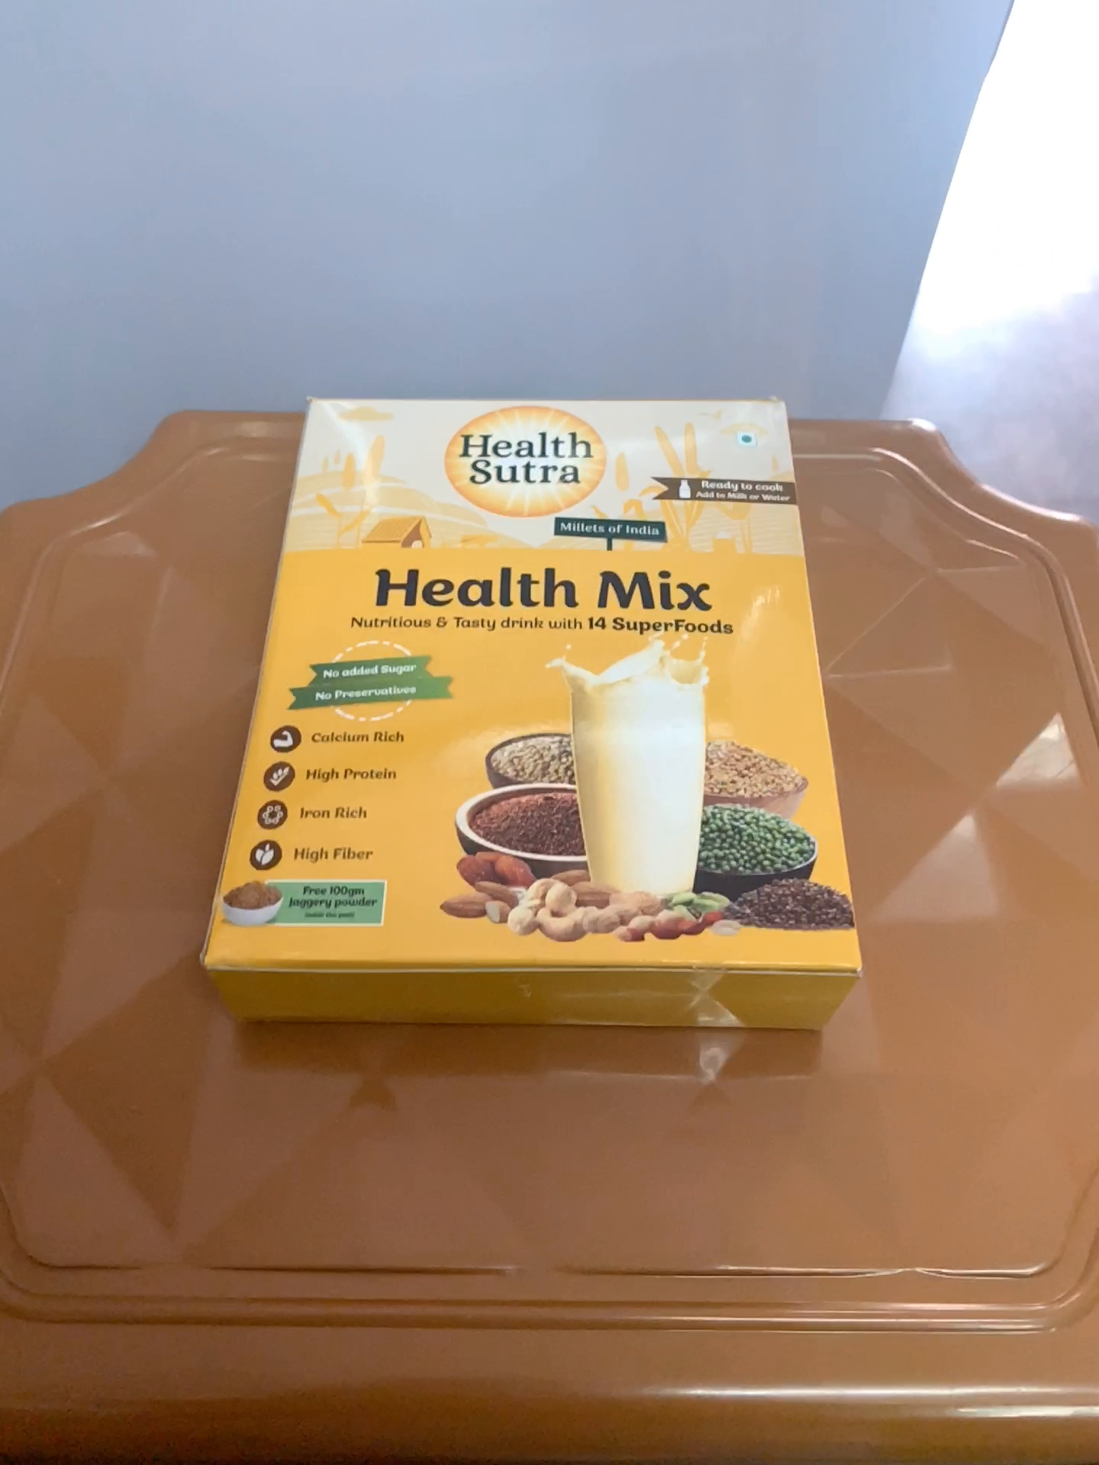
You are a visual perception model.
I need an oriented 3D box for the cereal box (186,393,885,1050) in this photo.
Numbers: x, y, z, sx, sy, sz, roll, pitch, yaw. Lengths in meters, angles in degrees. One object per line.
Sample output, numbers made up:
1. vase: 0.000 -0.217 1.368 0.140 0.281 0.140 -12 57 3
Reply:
1. cereal box: -0.003 -0.010 0.273 0.130 0.040 0.160 1 56 -2
